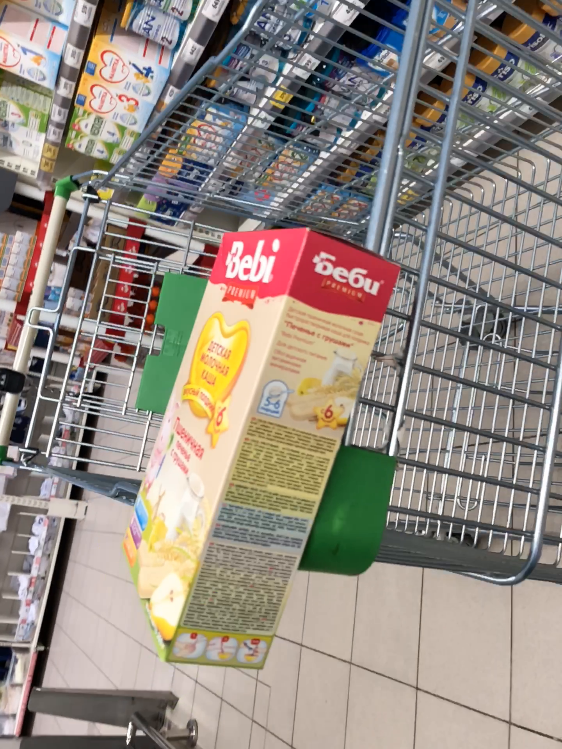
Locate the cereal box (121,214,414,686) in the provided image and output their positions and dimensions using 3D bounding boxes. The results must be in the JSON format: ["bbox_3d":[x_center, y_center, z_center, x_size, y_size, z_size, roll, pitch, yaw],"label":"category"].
[{"bbox_3d":[-0.021,0.027,0.331,0.131,0.050,0.210,27,98,66],"label":"cereal box"}]
